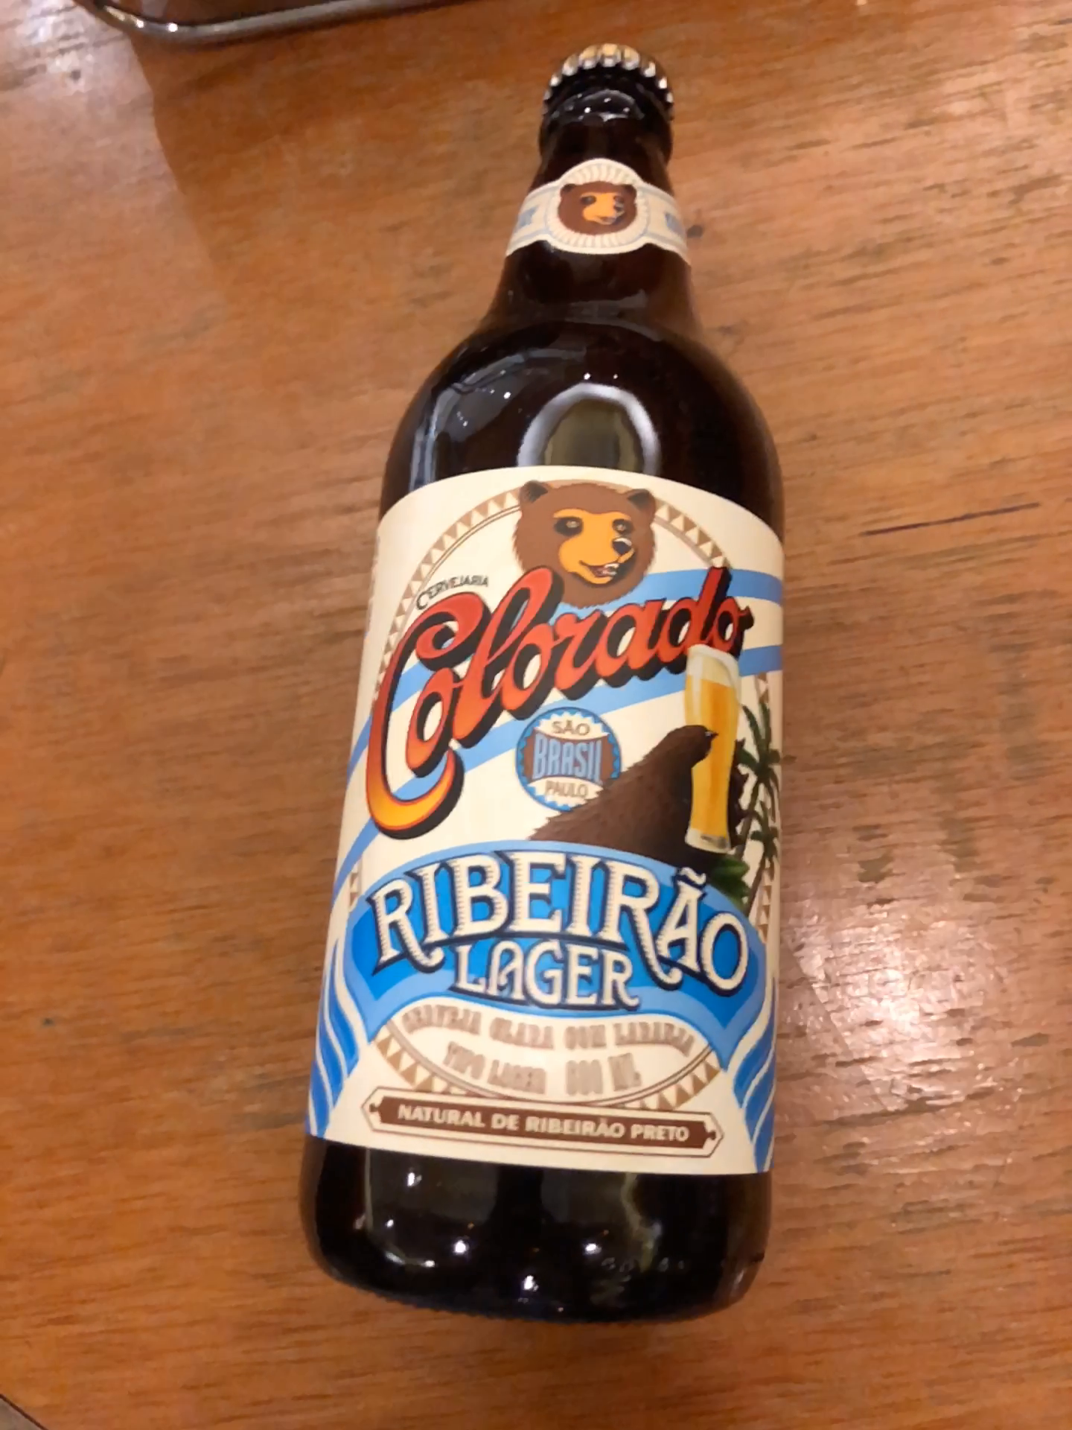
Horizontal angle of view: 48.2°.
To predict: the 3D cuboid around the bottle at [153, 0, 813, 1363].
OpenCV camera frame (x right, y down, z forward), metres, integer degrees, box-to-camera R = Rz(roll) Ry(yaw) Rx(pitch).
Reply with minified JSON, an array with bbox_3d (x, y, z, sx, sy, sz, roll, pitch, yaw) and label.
[{"bbox_3d":[0.004,-0.033,0.228,0.090,0.060,0.260,1,74,10],"label":"bottle"}]
